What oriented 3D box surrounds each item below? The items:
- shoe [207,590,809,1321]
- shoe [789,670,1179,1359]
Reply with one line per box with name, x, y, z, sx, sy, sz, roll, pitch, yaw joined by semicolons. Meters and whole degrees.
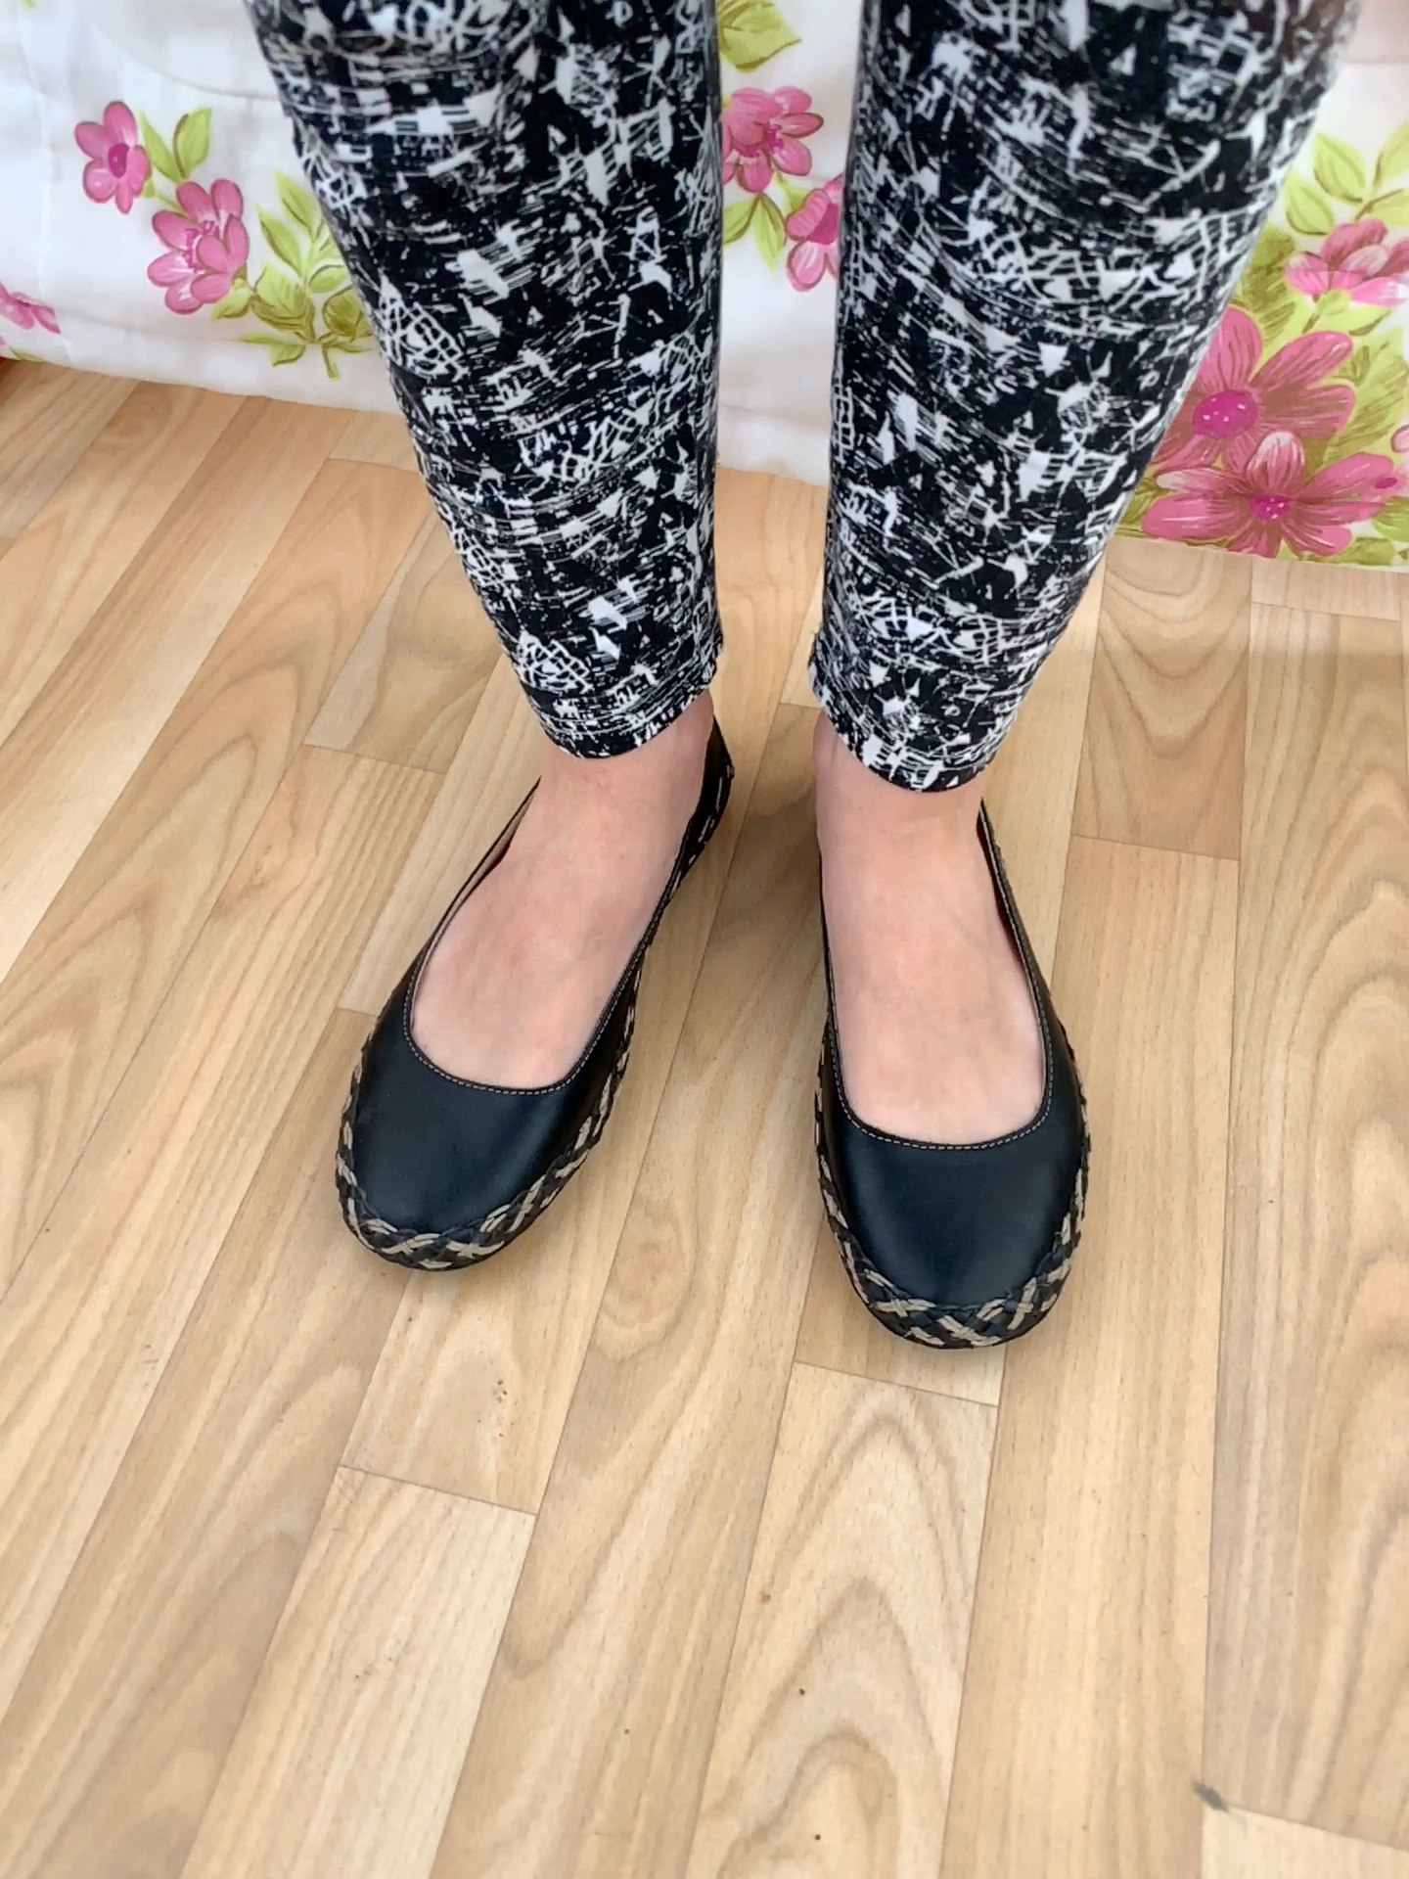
shoe;-0.057;-0.008;0.538;0.100;0.070;0.265;19;58;15
shoe;0.087;0.016;0.517;0.100;0.060;0.251;-2;55;1
